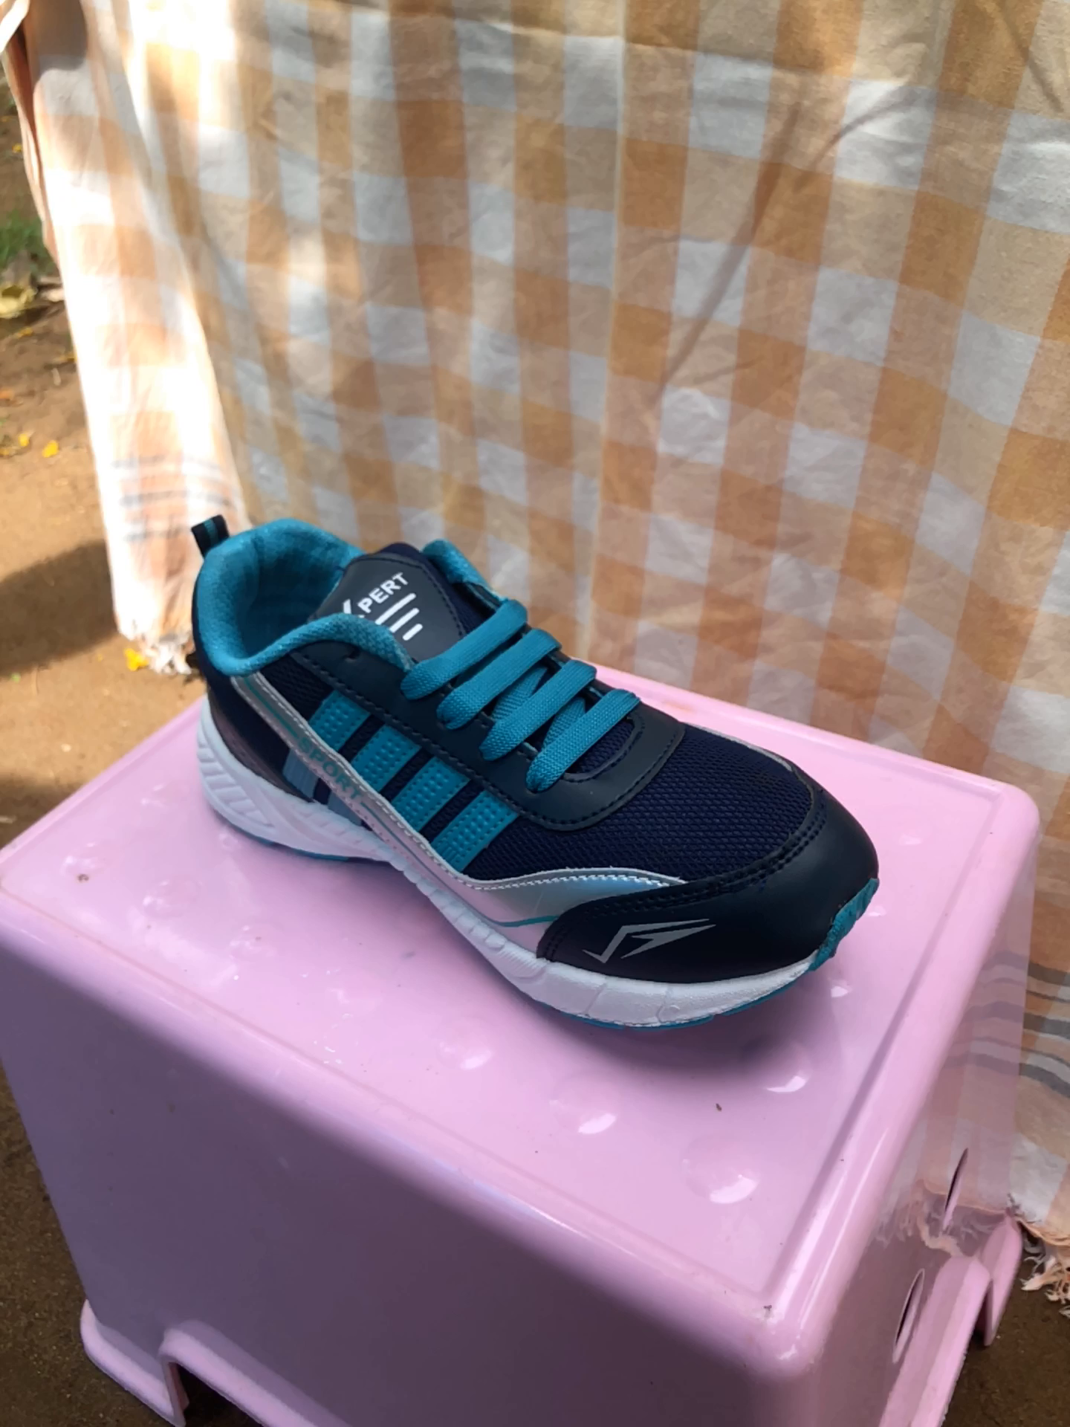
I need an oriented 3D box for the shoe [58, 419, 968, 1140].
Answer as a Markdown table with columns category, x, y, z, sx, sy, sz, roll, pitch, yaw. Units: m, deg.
| category | x | y | z | sx | sy | sz | roll | pitch | yaw |
| --- | --- | --- | --- | --- | --- | --- | --- | --- | --- |
| shoe | -0.016 | 0.003 | 0.403 | 0.270 | 0.109 | 0.111 | 23 | 46 | 28 |
